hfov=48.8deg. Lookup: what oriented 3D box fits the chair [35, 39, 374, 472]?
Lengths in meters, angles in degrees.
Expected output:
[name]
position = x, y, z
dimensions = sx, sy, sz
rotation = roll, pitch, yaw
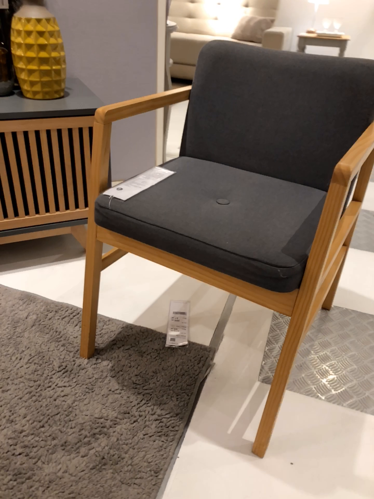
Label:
[chair]
position = 0.132, -0.085, 1.054
dimensions = 0.561, 0.734, 0.705
rotation = 19, 34, 23
